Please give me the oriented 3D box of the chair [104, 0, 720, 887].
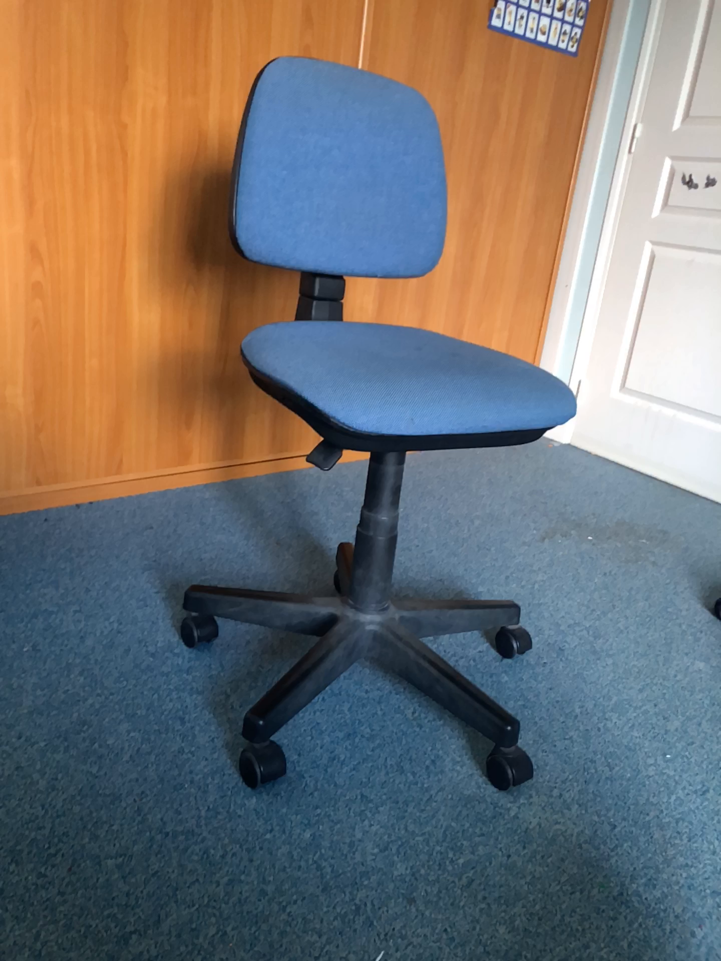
[{"bbox_3d":[0.048,-0.141,1.188,0.653,0.915,0.761,-5,23,-31],"label":"chair"}]
